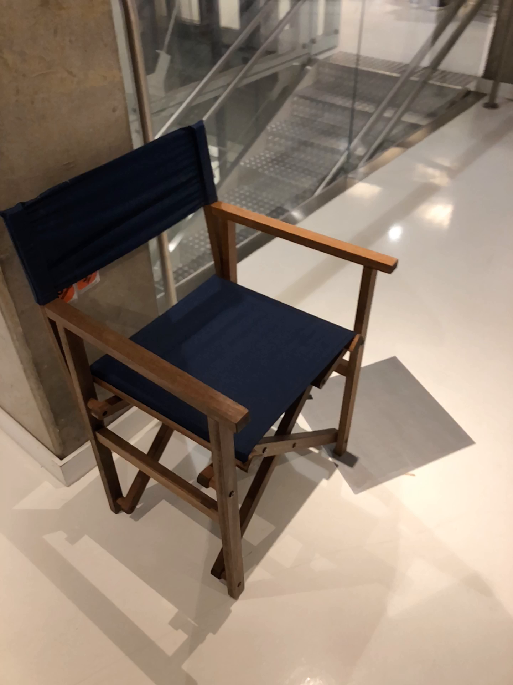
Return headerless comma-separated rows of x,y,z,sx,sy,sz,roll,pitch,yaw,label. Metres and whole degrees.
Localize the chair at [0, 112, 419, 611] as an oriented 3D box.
-0.070,0.024,1.240,0.501,0.774,0.583,26,48,28,chair
